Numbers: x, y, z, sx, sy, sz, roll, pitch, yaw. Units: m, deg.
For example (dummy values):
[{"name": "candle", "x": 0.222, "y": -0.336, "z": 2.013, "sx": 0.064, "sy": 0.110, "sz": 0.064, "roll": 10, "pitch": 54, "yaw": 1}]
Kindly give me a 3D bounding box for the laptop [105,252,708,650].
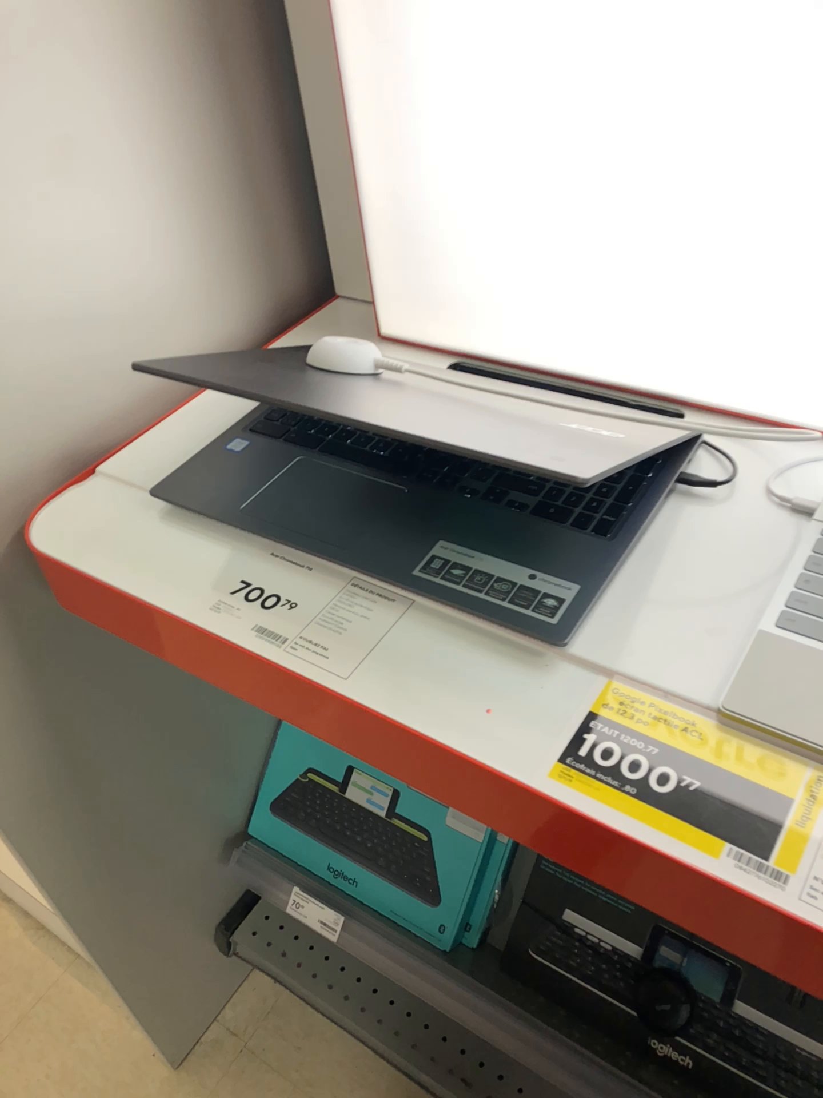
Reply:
[{"name": "laptop", "x": -0.002, "y": -0.099, "z": 0.664, "sx": 0.357, "sy": 0.105, "sz": 0.236, "roll": 19, "pitch": 47, "yaw": 28}]
